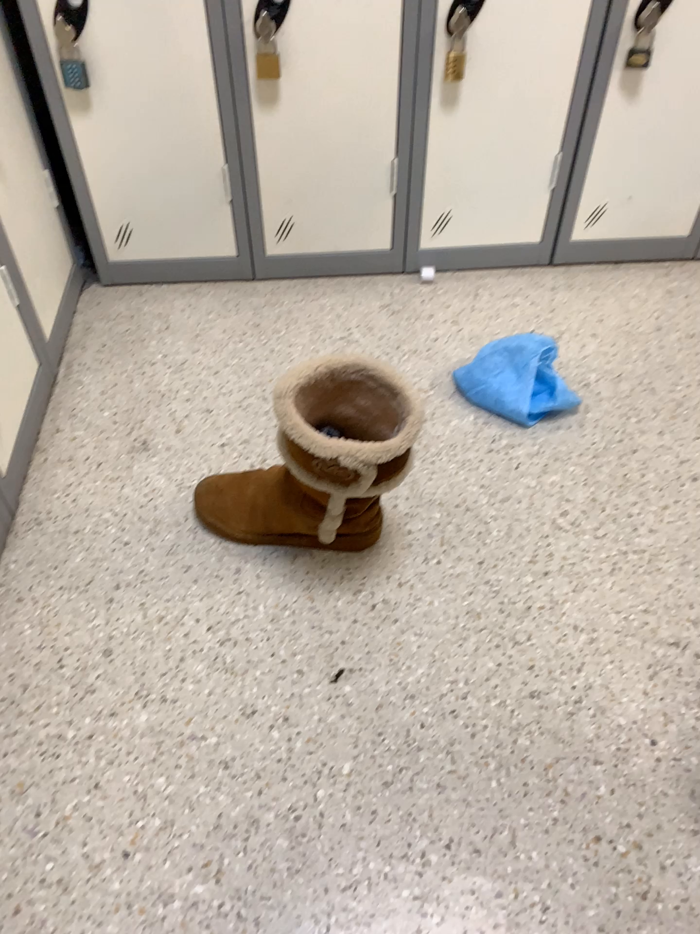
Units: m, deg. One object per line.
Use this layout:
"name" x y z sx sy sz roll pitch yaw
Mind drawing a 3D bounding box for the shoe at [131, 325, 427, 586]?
"shoe" -0.076 -0.012 0.906 0.306 0.243 0.159 10 48 9
